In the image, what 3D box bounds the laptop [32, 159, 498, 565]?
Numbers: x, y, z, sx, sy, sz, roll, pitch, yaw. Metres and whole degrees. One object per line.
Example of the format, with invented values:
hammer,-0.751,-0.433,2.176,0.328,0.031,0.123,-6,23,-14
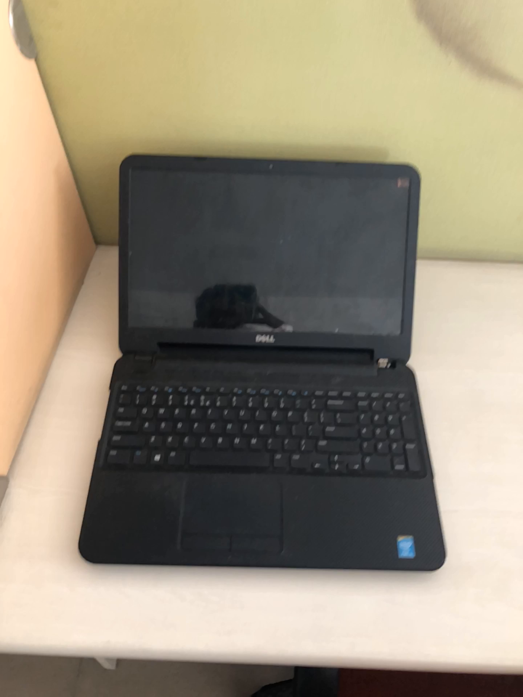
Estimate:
laptop,0.007,-0.007,0.637,0.356,0.165,0.426,1,52,-1
